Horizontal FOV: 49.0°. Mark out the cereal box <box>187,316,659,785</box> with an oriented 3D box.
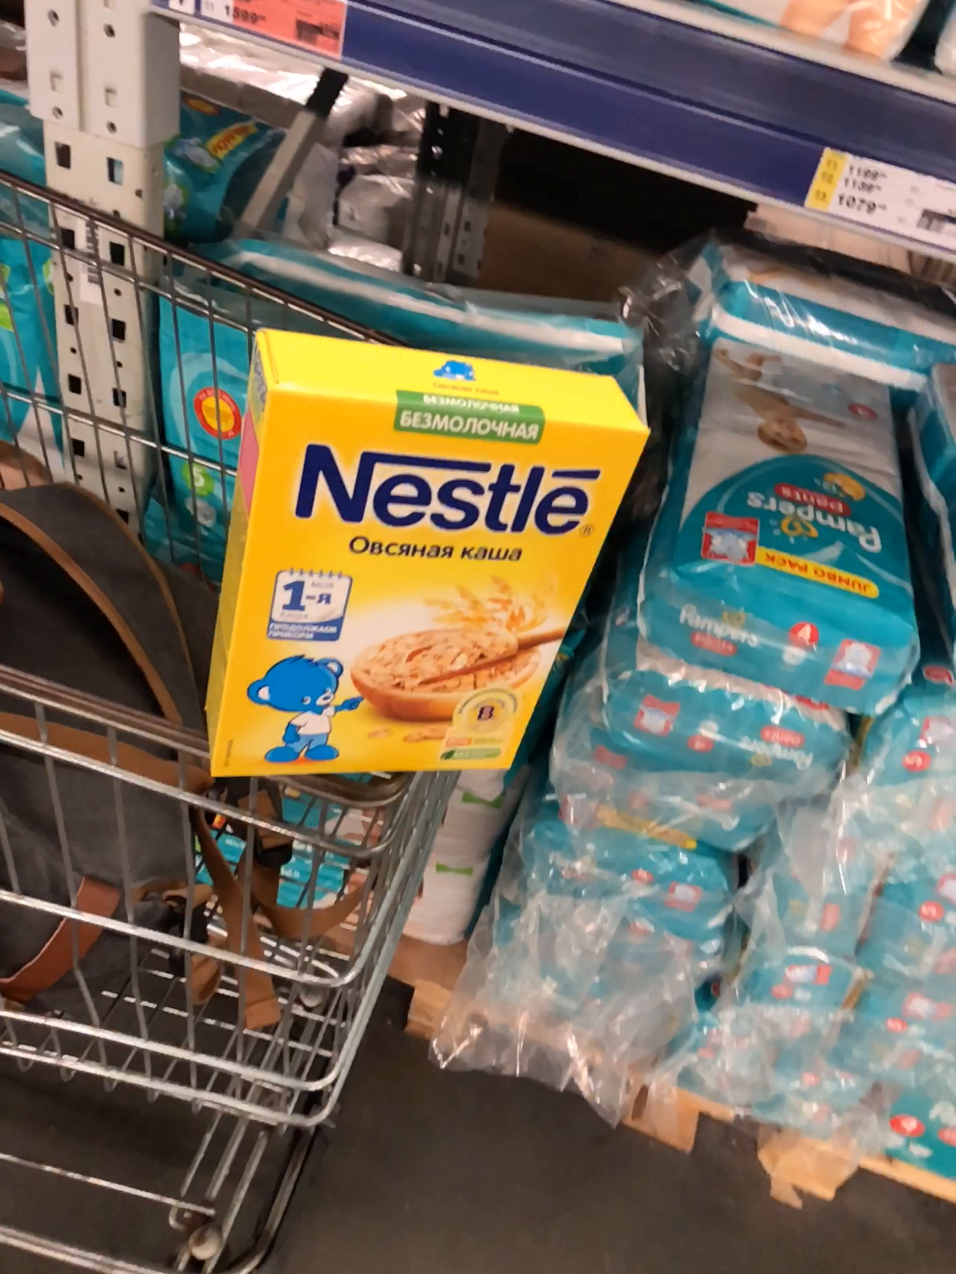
[{"bbox_3d":[-0.033,-0.022,0.437,0.150,0.199,0.040,1,41,-22],"label":"cereal box"}]
